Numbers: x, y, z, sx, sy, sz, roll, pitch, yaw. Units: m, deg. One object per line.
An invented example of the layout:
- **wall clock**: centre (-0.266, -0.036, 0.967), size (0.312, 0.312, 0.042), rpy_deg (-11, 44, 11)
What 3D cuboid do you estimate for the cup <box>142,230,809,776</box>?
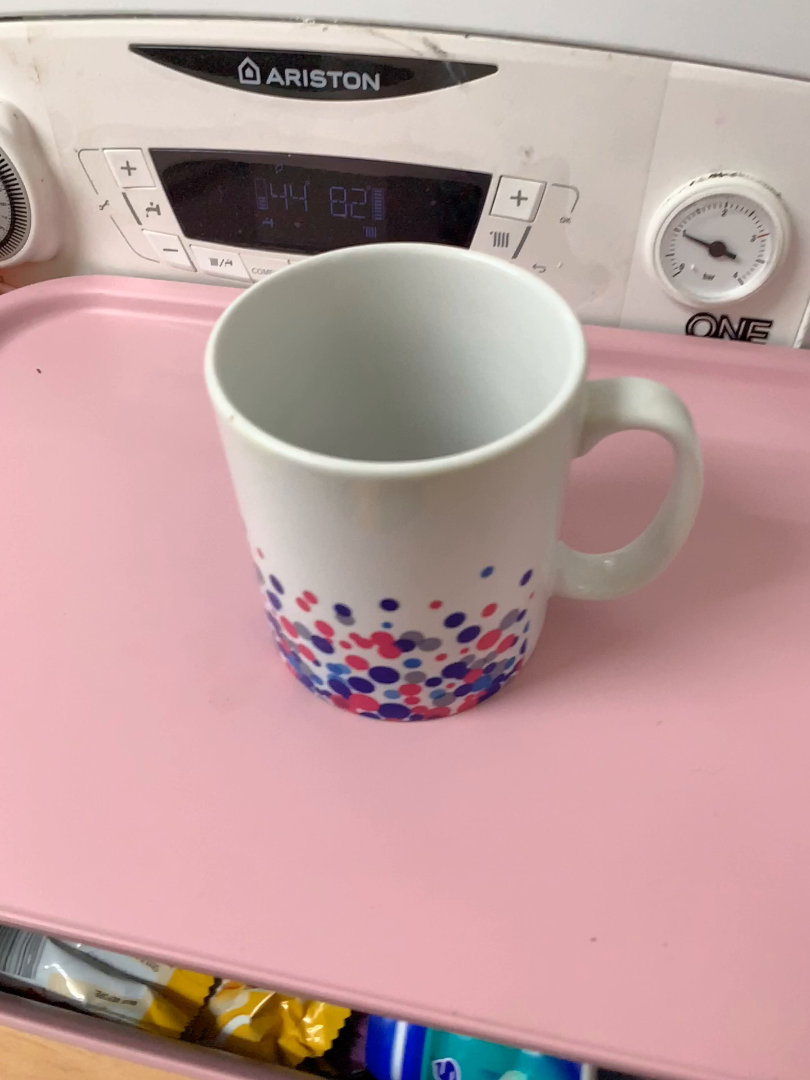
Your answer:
- **cup**: centre (0.018, -0.011, 0.203), size (0.120, 0.089, 0.081), rpy_deg (7, 44, 7)
